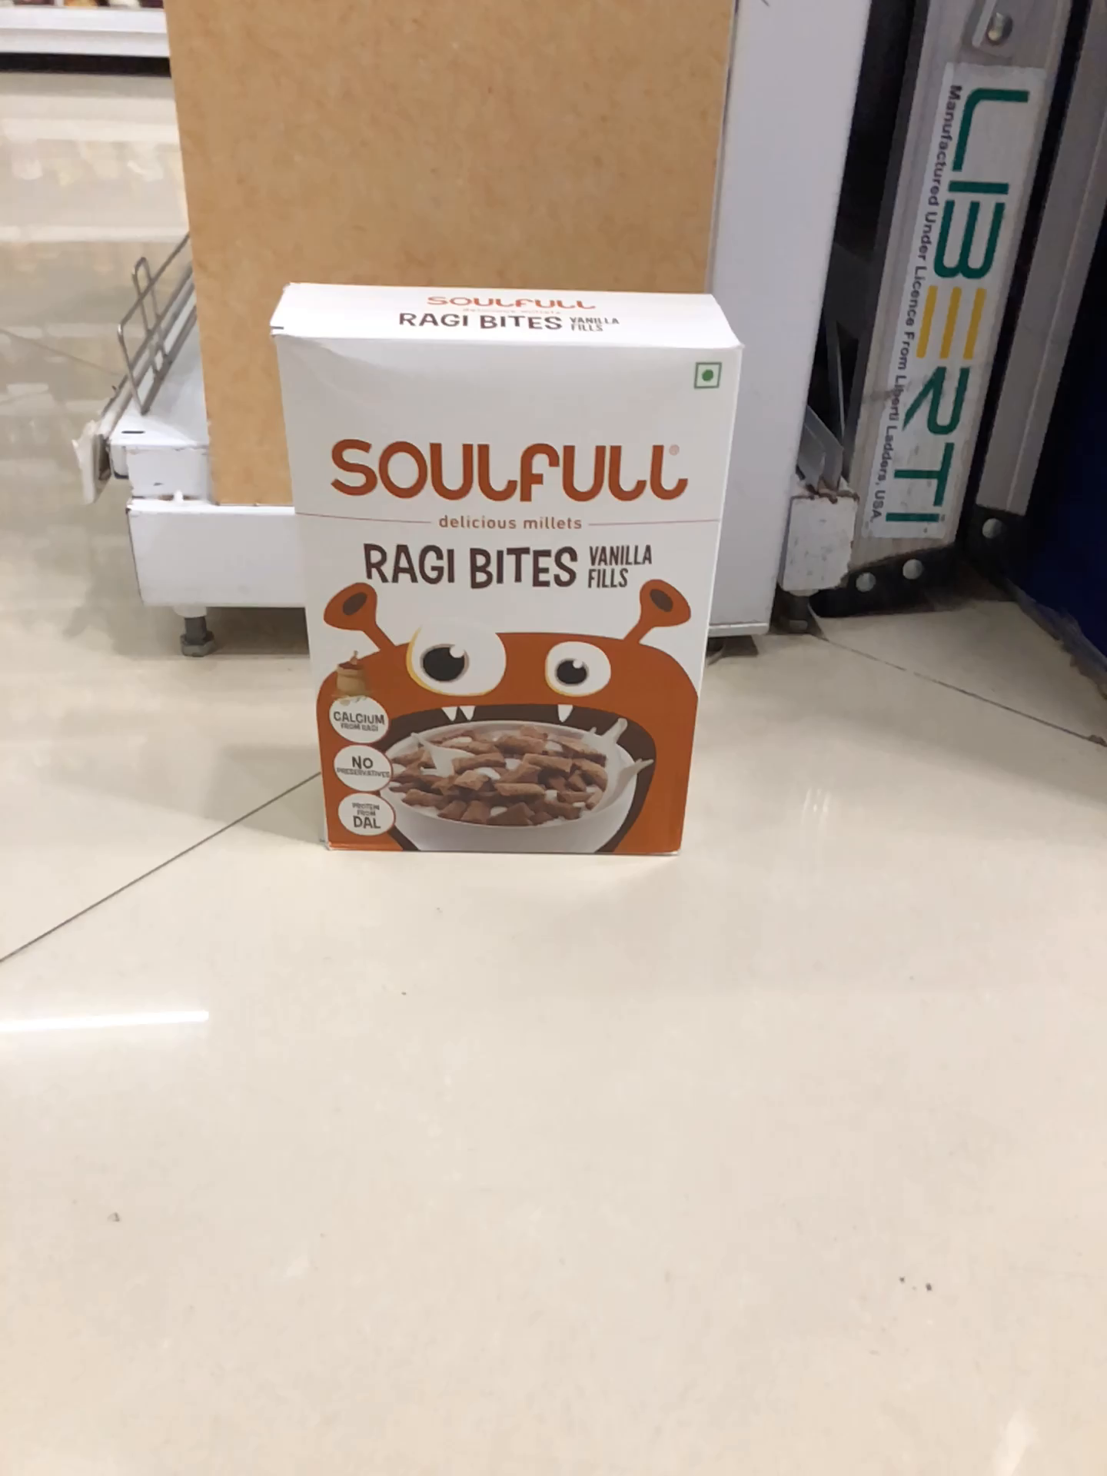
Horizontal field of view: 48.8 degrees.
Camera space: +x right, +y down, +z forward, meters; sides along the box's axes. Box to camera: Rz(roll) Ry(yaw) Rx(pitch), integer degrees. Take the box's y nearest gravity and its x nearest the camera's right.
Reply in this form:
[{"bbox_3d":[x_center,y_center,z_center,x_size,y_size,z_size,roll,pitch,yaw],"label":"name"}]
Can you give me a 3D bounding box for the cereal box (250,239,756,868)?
[{"bbox_3d":[-0.022,-0.065,0.509,0.170,0.248,0.070,1,34,-3],"label":"cereal box"}]
